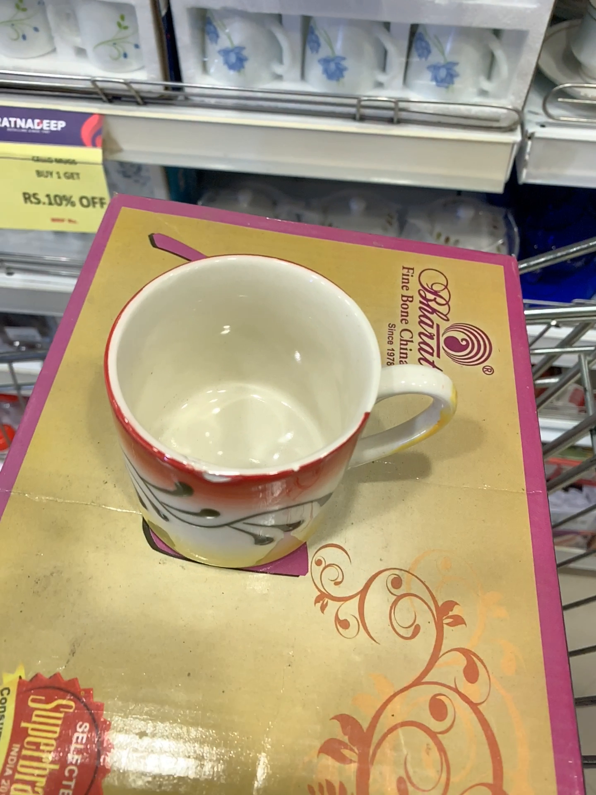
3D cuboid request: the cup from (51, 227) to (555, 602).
[{"bbox_3d":[-0.001,0.009,0.185,0.110,0.070,0.080,4,56,-5],"label":"cup"}]
